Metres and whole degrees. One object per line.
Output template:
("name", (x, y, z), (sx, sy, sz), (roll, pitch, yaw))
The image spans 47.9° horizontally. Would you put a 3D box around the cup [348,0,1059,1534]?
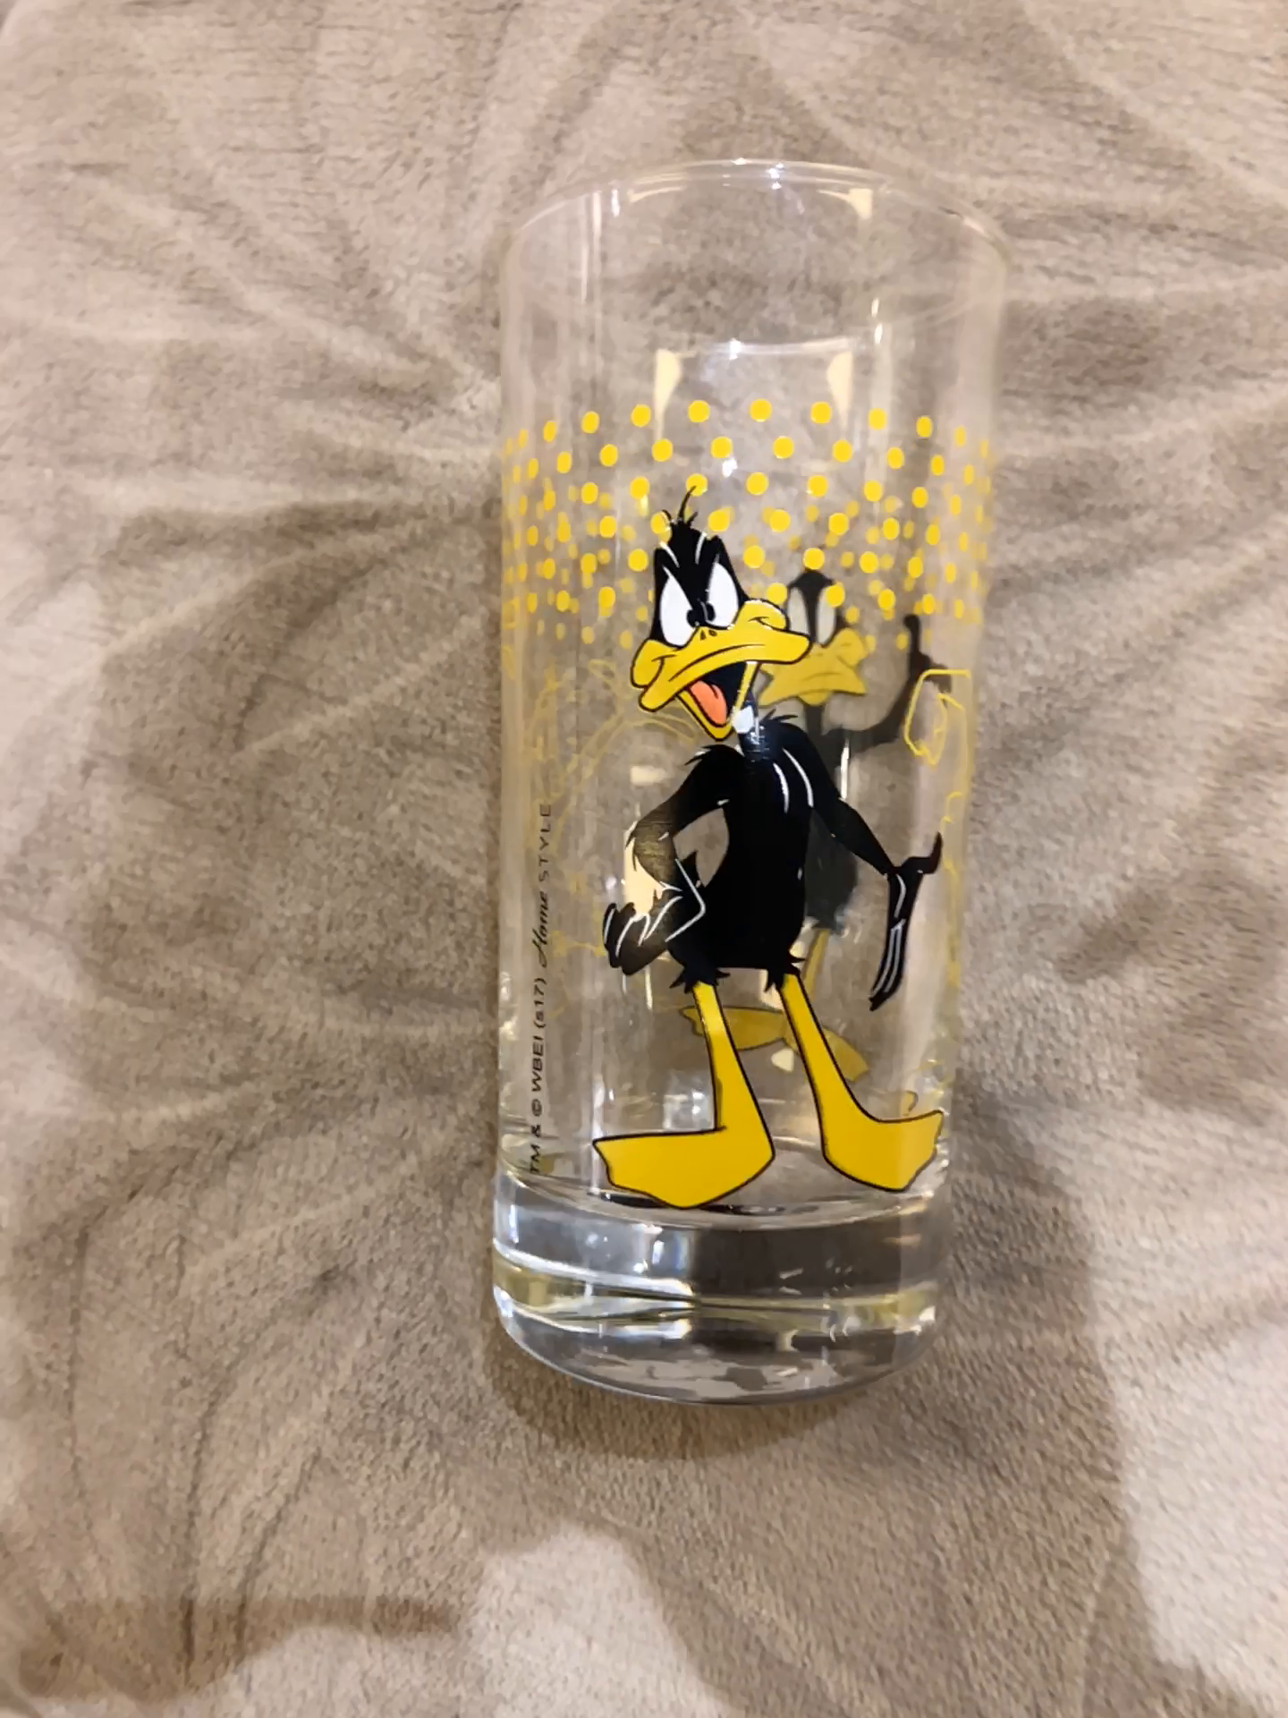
("cup", (0.011, -0.013, 0.185), (0.070, 0.070, 0.160), (1, 85, 7))
